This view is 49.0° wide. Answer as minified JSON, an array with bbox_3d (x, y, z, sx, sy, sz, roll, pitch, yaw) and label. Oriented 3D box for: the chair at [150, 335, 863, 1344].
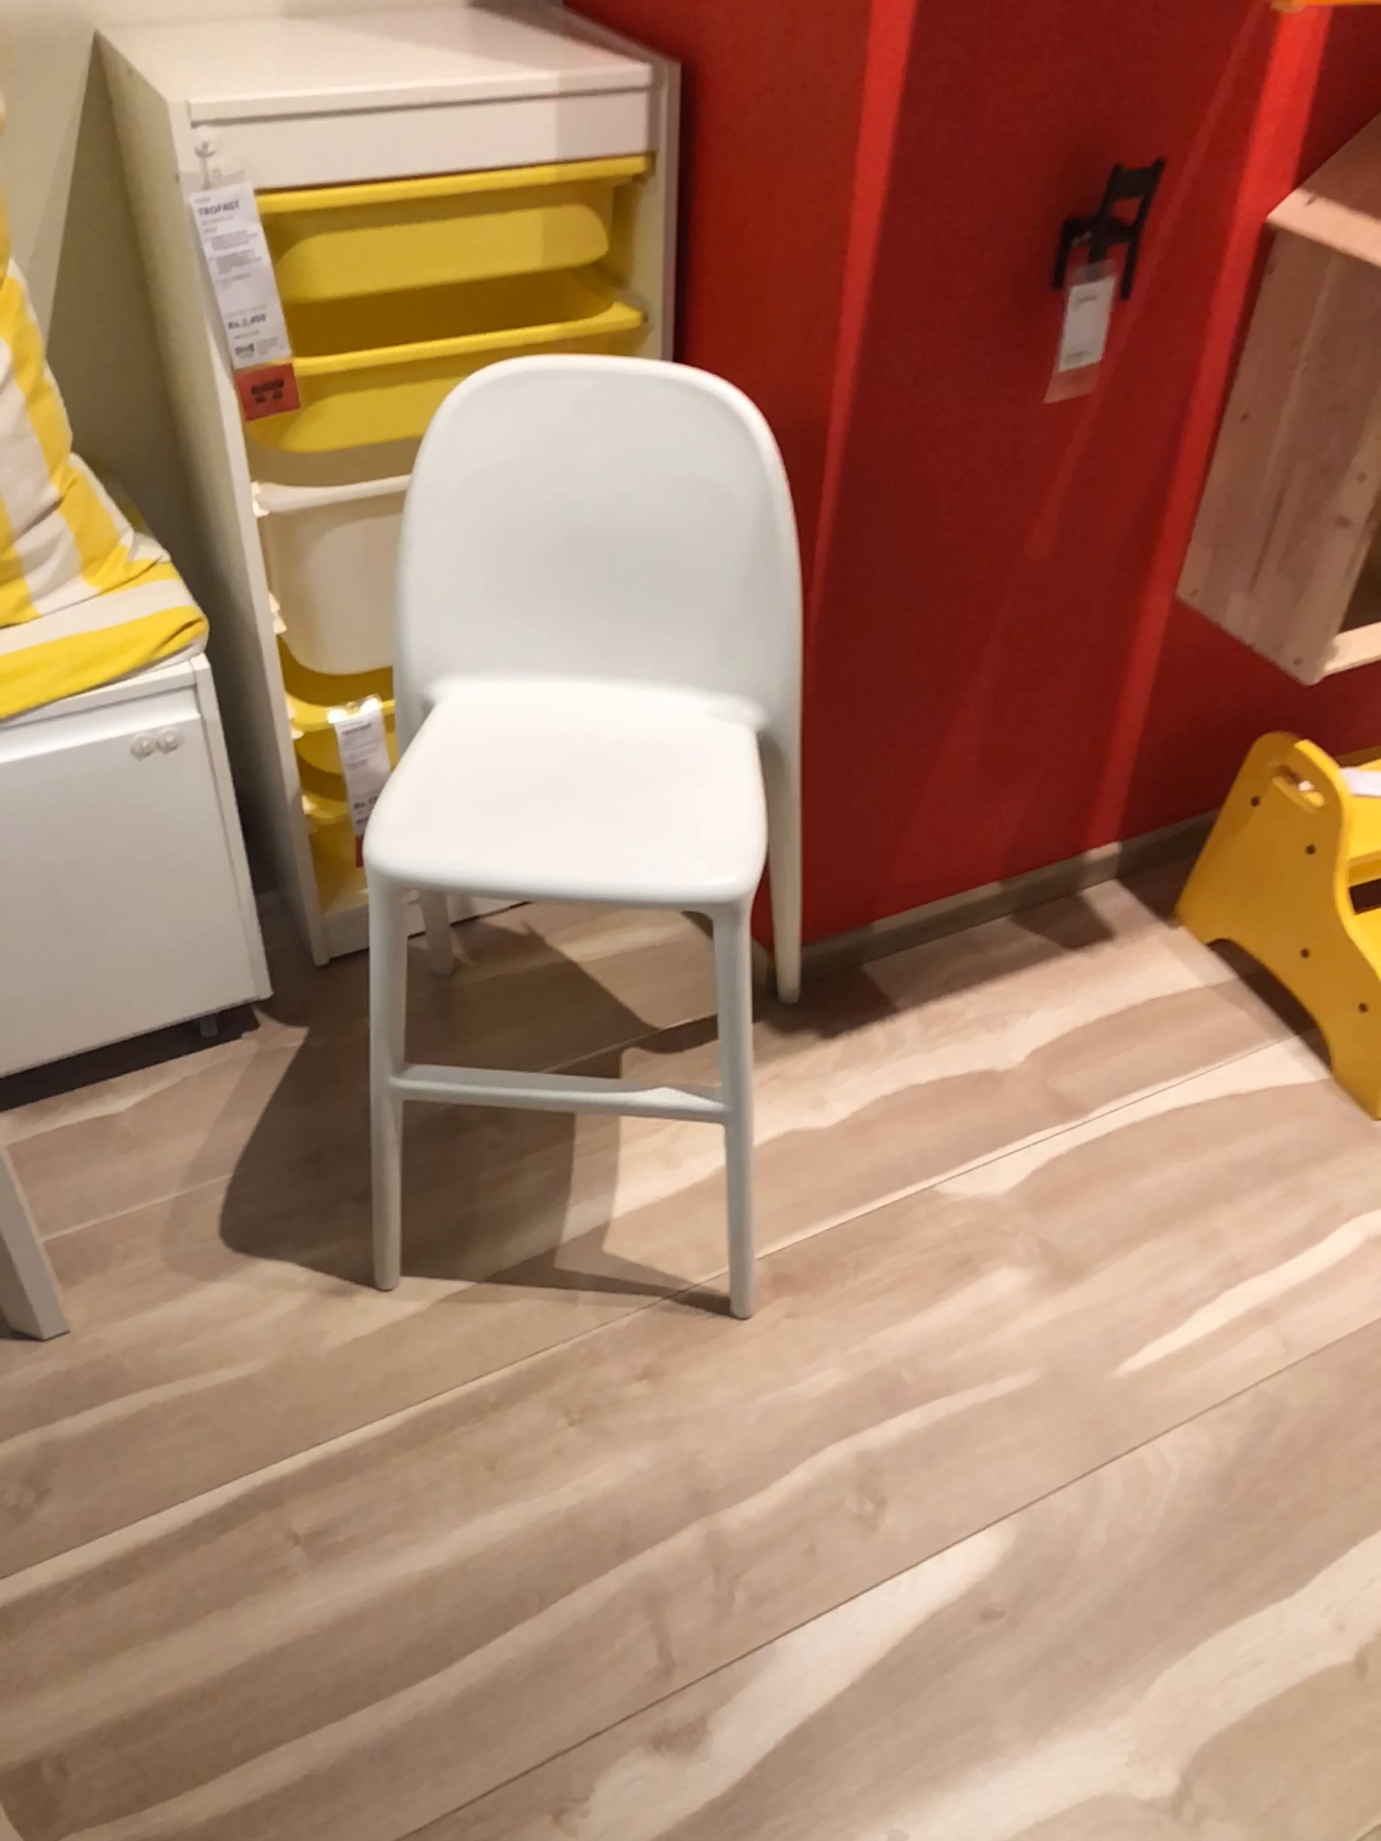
[{"bbox_3d":[-0.109,-0.046,1.298,0.420,0.705,0.463,4,43,1],"label":"chair"}]
